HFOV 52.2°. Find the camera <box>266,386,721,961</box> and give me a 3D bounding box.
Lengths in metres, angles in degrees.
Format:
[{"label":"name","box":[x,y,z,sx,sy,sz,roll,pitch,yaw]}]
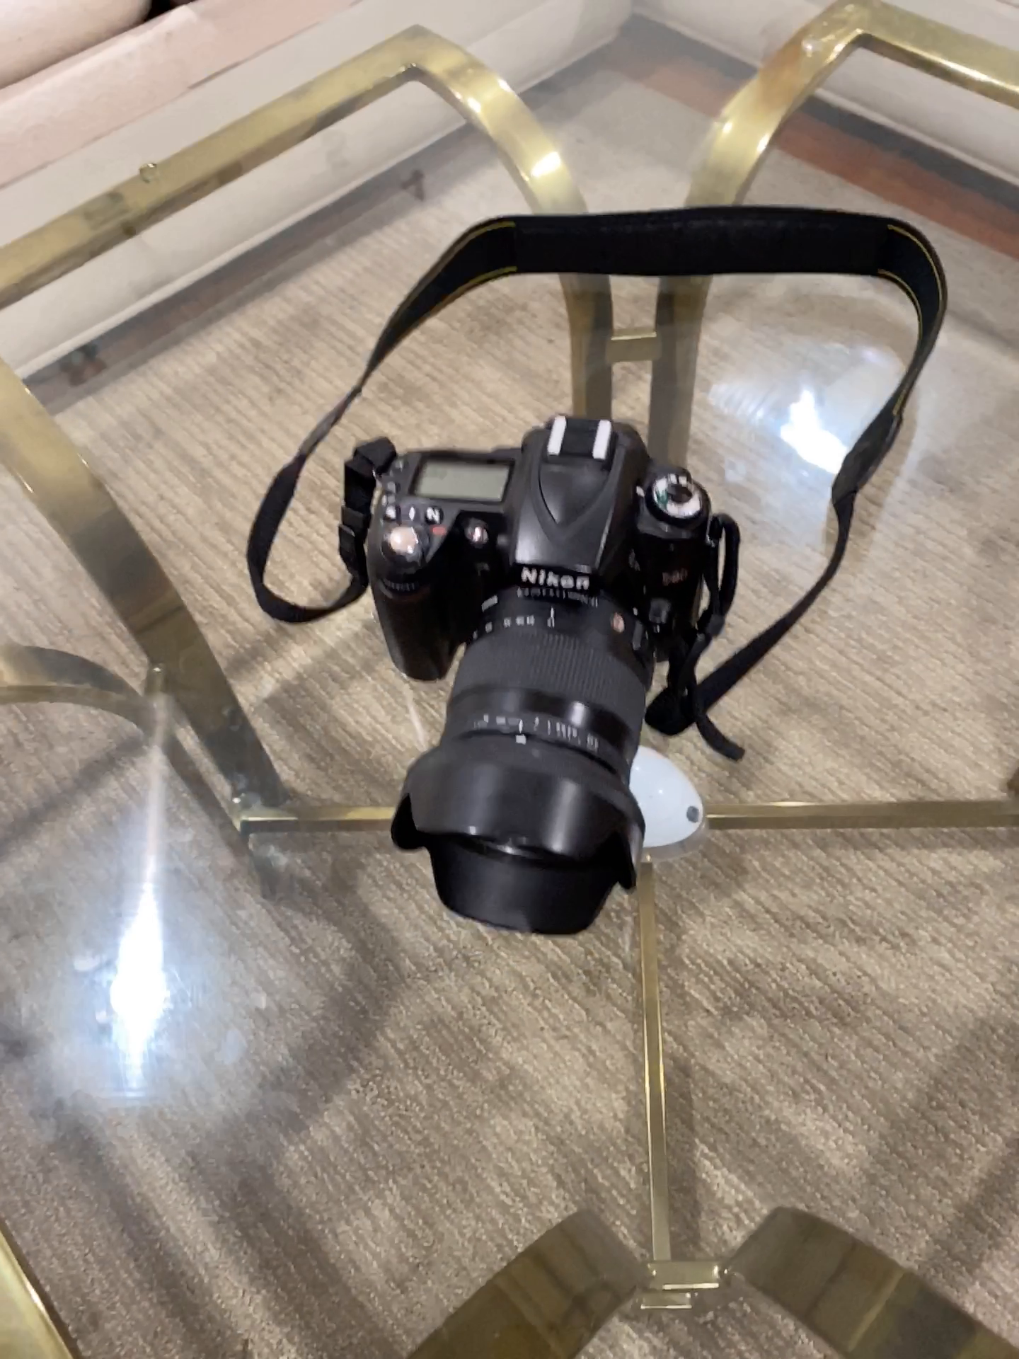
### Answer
[{"label":"camera","box":[0.007,-0.005,0.414,0.130,0.120,0.180,6,57,9]}]
